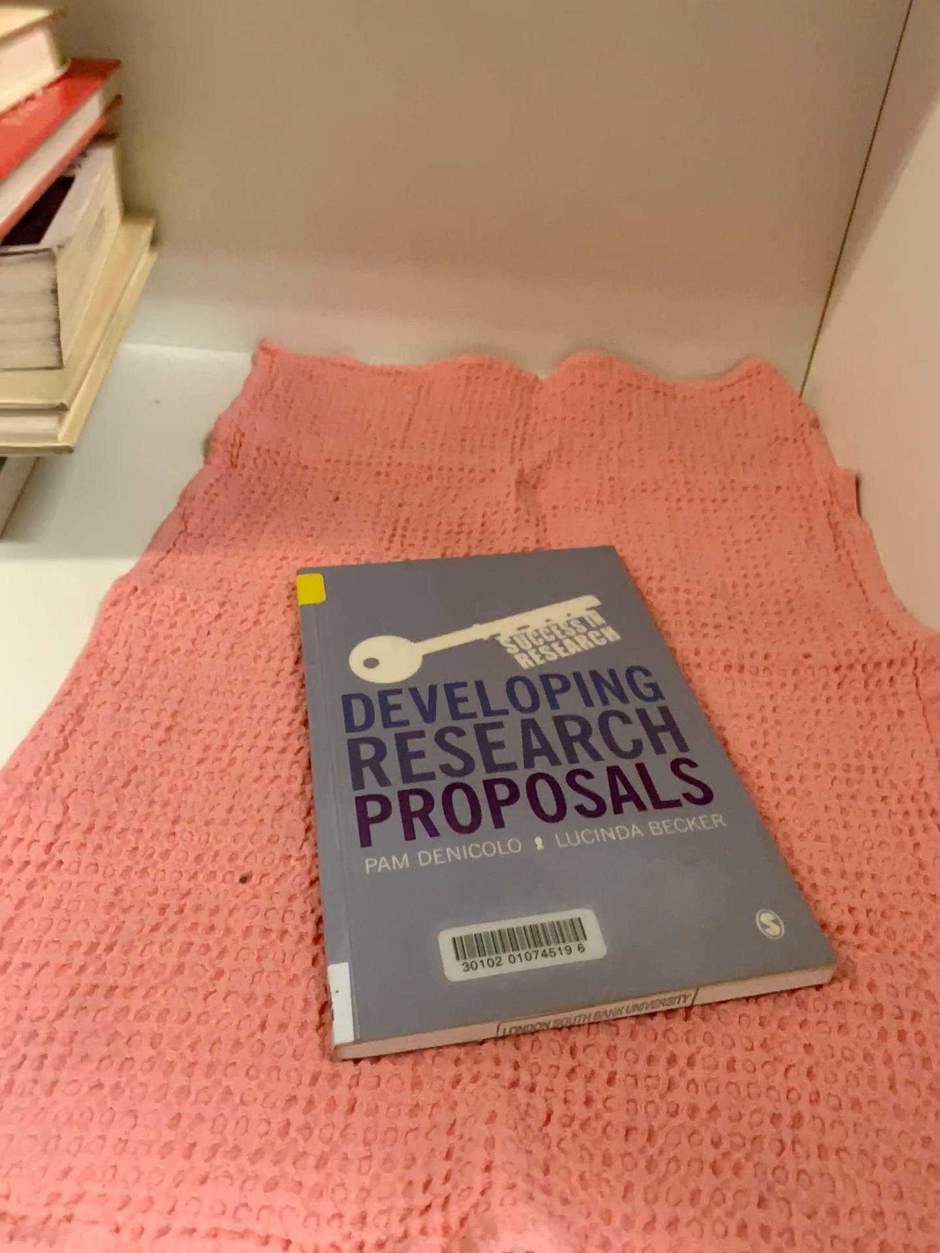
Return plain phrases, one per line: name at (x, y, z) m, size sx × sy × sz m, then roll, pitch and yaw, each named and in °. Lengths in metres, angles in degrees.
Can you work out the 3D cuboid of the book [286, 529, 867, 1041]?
book at (0.019, 0.035, 0.378) m, size 0.165 × 0.015 × 0.232 m, roll -5°, pitch 39°, yaw -11°
